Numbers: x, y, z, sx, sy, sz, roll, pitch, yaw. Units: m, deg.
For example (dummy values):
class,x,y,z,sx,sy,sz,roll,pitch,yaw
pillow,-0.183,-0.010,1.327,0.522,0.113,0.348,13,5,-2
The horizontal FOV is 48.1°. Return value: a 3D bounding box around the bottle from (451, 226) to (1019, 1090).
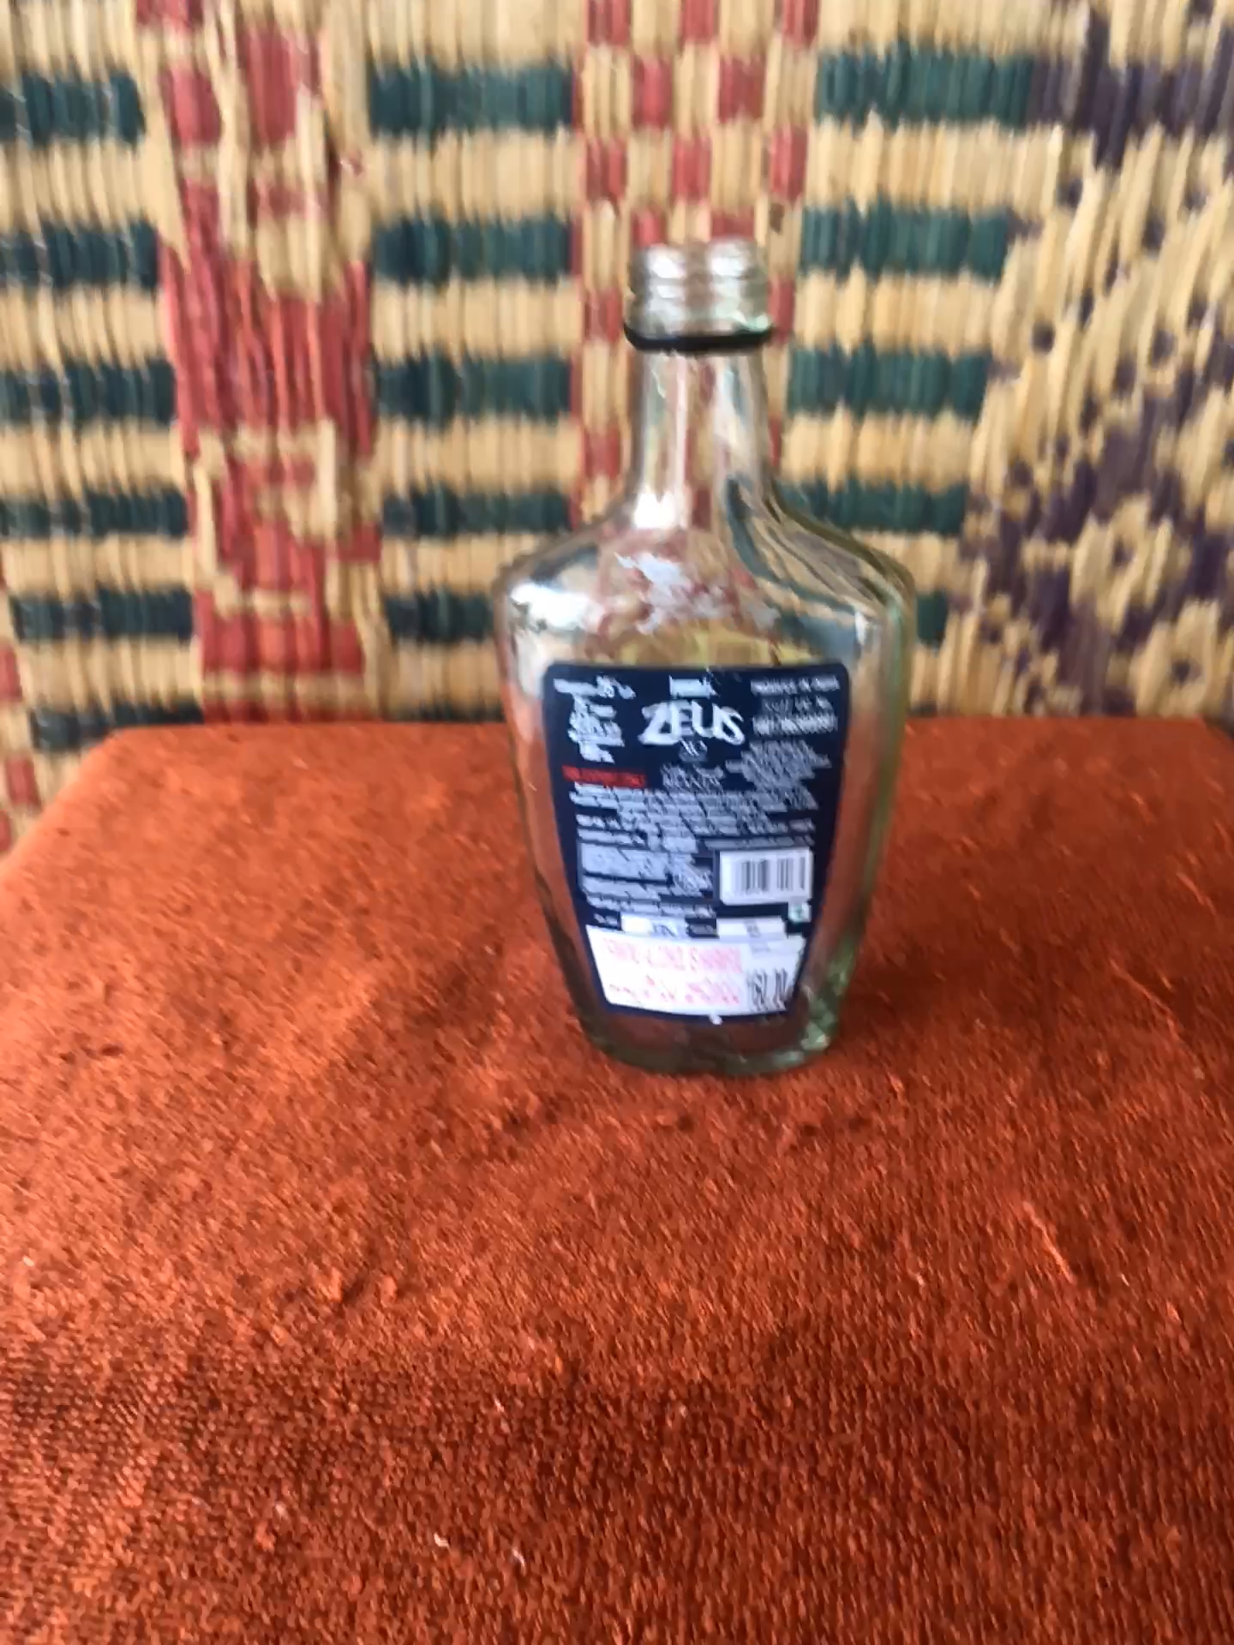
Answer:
class,x,y,z,sx,sy,sz,roll,pitch,yaw
bottle,0.019,-0.024,0.250,0.080,0.149,0.040,1,30,4
